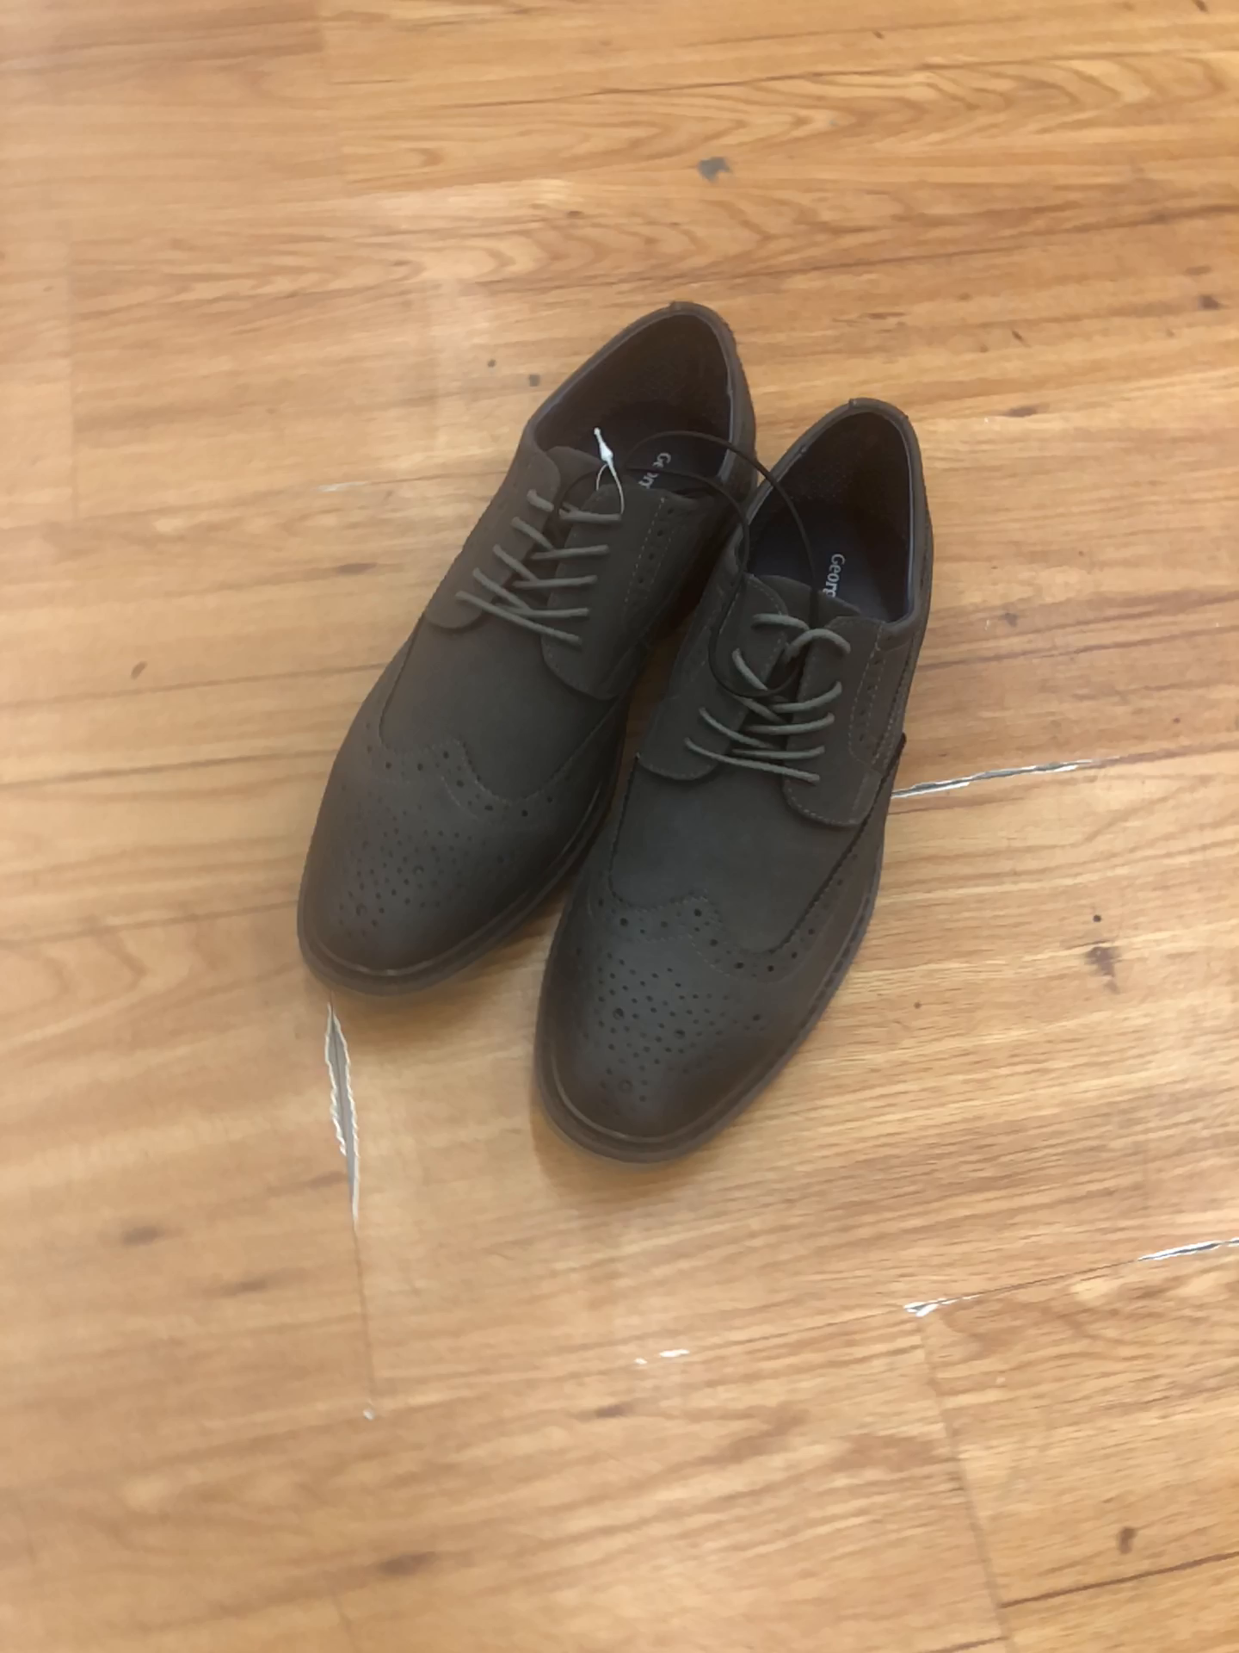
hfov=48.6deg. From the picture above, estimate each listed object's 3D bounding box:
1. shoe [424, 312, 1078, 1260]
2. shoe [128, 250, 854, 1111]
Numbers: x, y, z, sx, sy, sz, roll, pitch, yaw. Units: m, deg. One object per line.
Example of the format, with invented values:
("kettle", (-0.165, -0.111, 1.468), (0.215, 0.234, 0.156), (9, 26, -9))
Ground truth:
("shoe", (0.050, -0.021, 0.458), (0.110, 0.110, 0.280), (21, 63, 7))
("shoe", (-0.031, -0.059, 0.495), (0.110, 0.110, 0.280), (26, 64, 10))
